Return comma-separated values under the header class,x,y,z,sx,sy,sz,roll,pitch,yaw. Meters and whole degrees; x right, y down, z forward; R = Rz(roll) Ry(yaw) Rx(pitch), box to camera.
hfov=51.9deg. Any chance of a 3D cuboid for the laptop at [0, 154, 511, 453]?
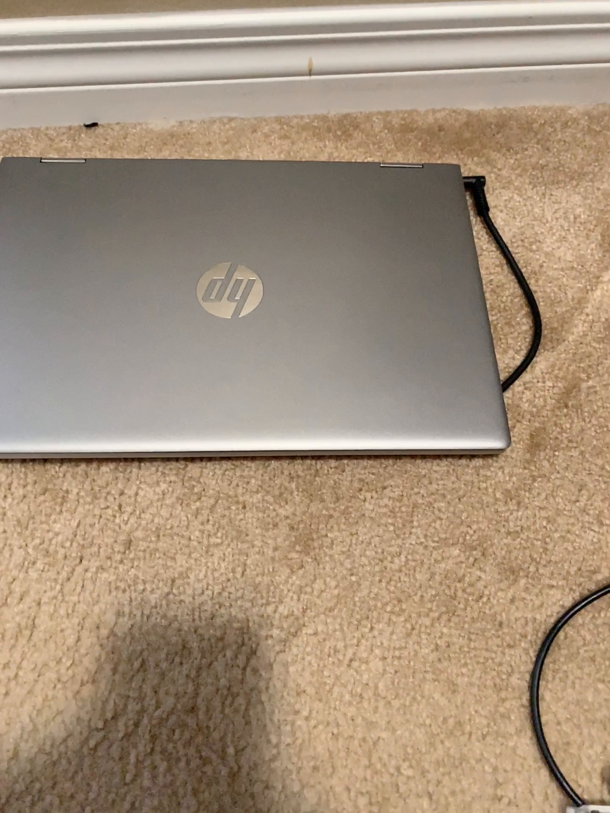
class,x,y,z,sx,sy,sz,roll,pitch,yaw
laptop,-0.045,-0.076,0.392,0.319,0.001,0.222,0,62,-5
